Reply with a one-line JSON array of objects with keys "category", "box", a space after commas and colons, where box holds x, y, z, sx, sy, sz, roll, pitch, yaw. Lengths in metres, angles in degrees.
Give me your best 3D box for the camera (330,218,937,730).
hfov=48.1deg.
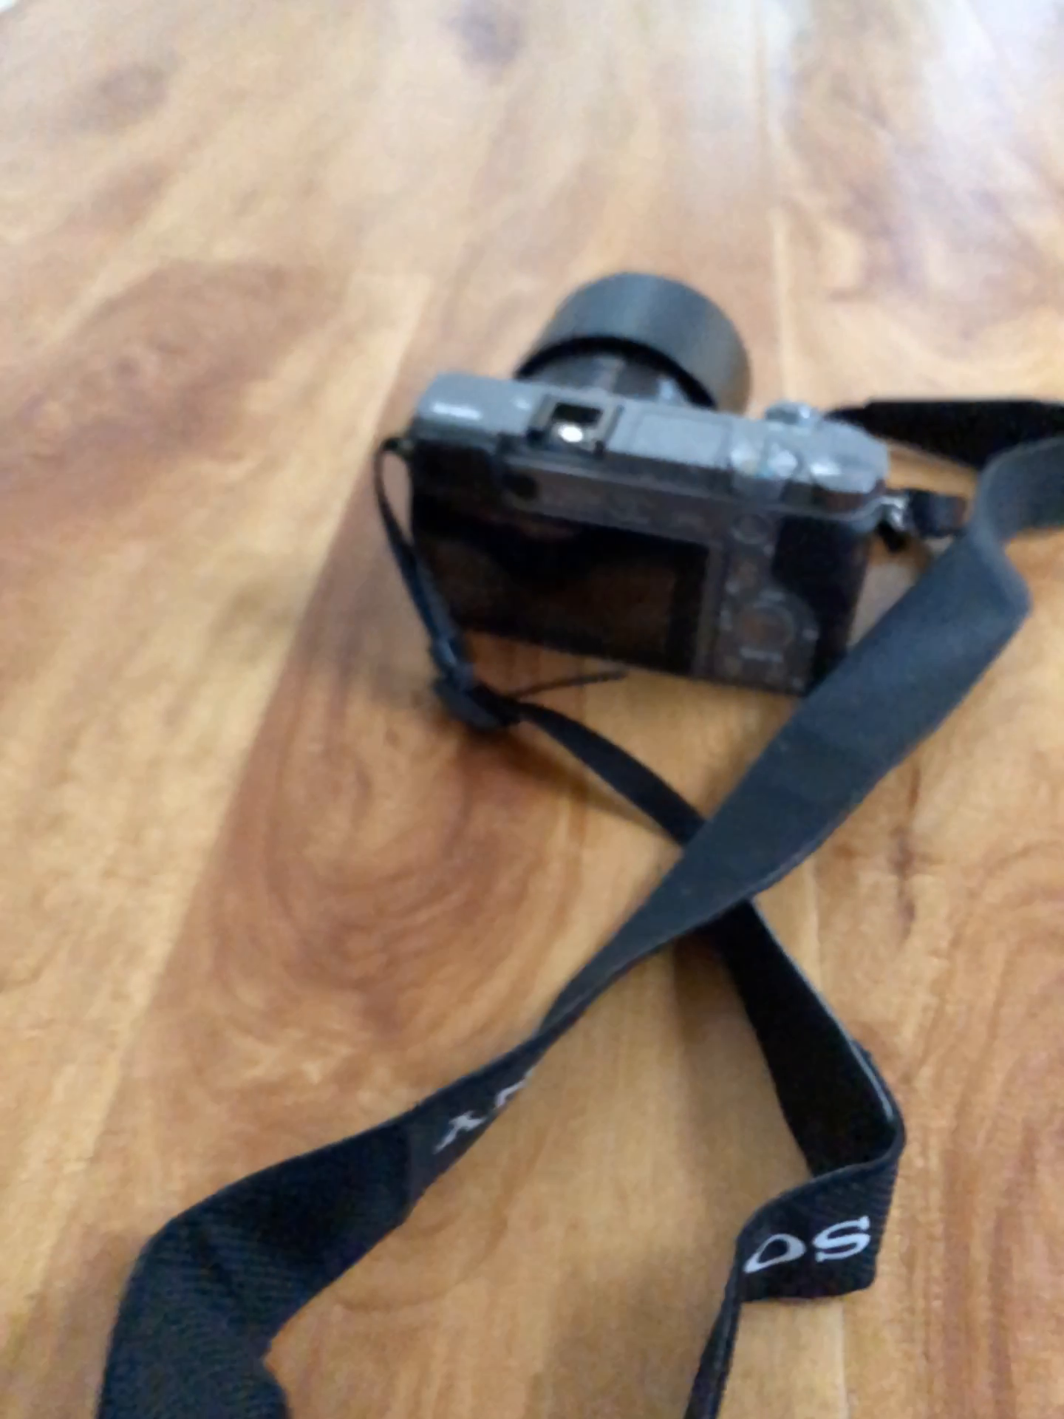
[{"category": "camera", "box": [0.033, -0.074, 0.347, 0.140, 0.080, 0.111, 12, 45, 13]}]
